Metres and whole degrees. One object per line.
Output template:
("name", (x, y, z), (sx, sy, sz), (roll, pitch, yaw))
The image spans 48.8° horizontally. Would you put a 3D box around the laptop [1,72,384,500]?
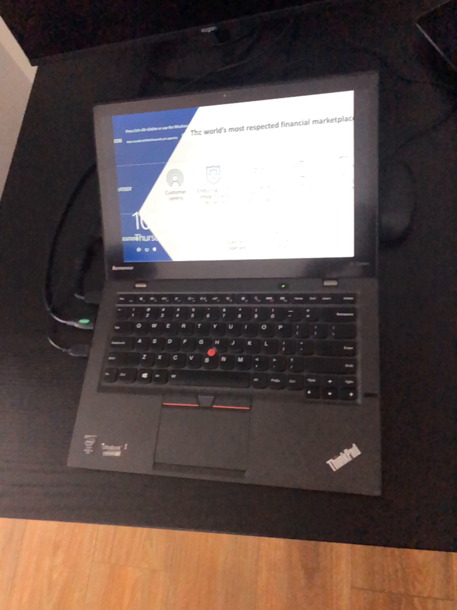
("laptop", (-0.013, -0.029, 0.521), (0.323, 0.117, 0.389), (1, 69, 14))
